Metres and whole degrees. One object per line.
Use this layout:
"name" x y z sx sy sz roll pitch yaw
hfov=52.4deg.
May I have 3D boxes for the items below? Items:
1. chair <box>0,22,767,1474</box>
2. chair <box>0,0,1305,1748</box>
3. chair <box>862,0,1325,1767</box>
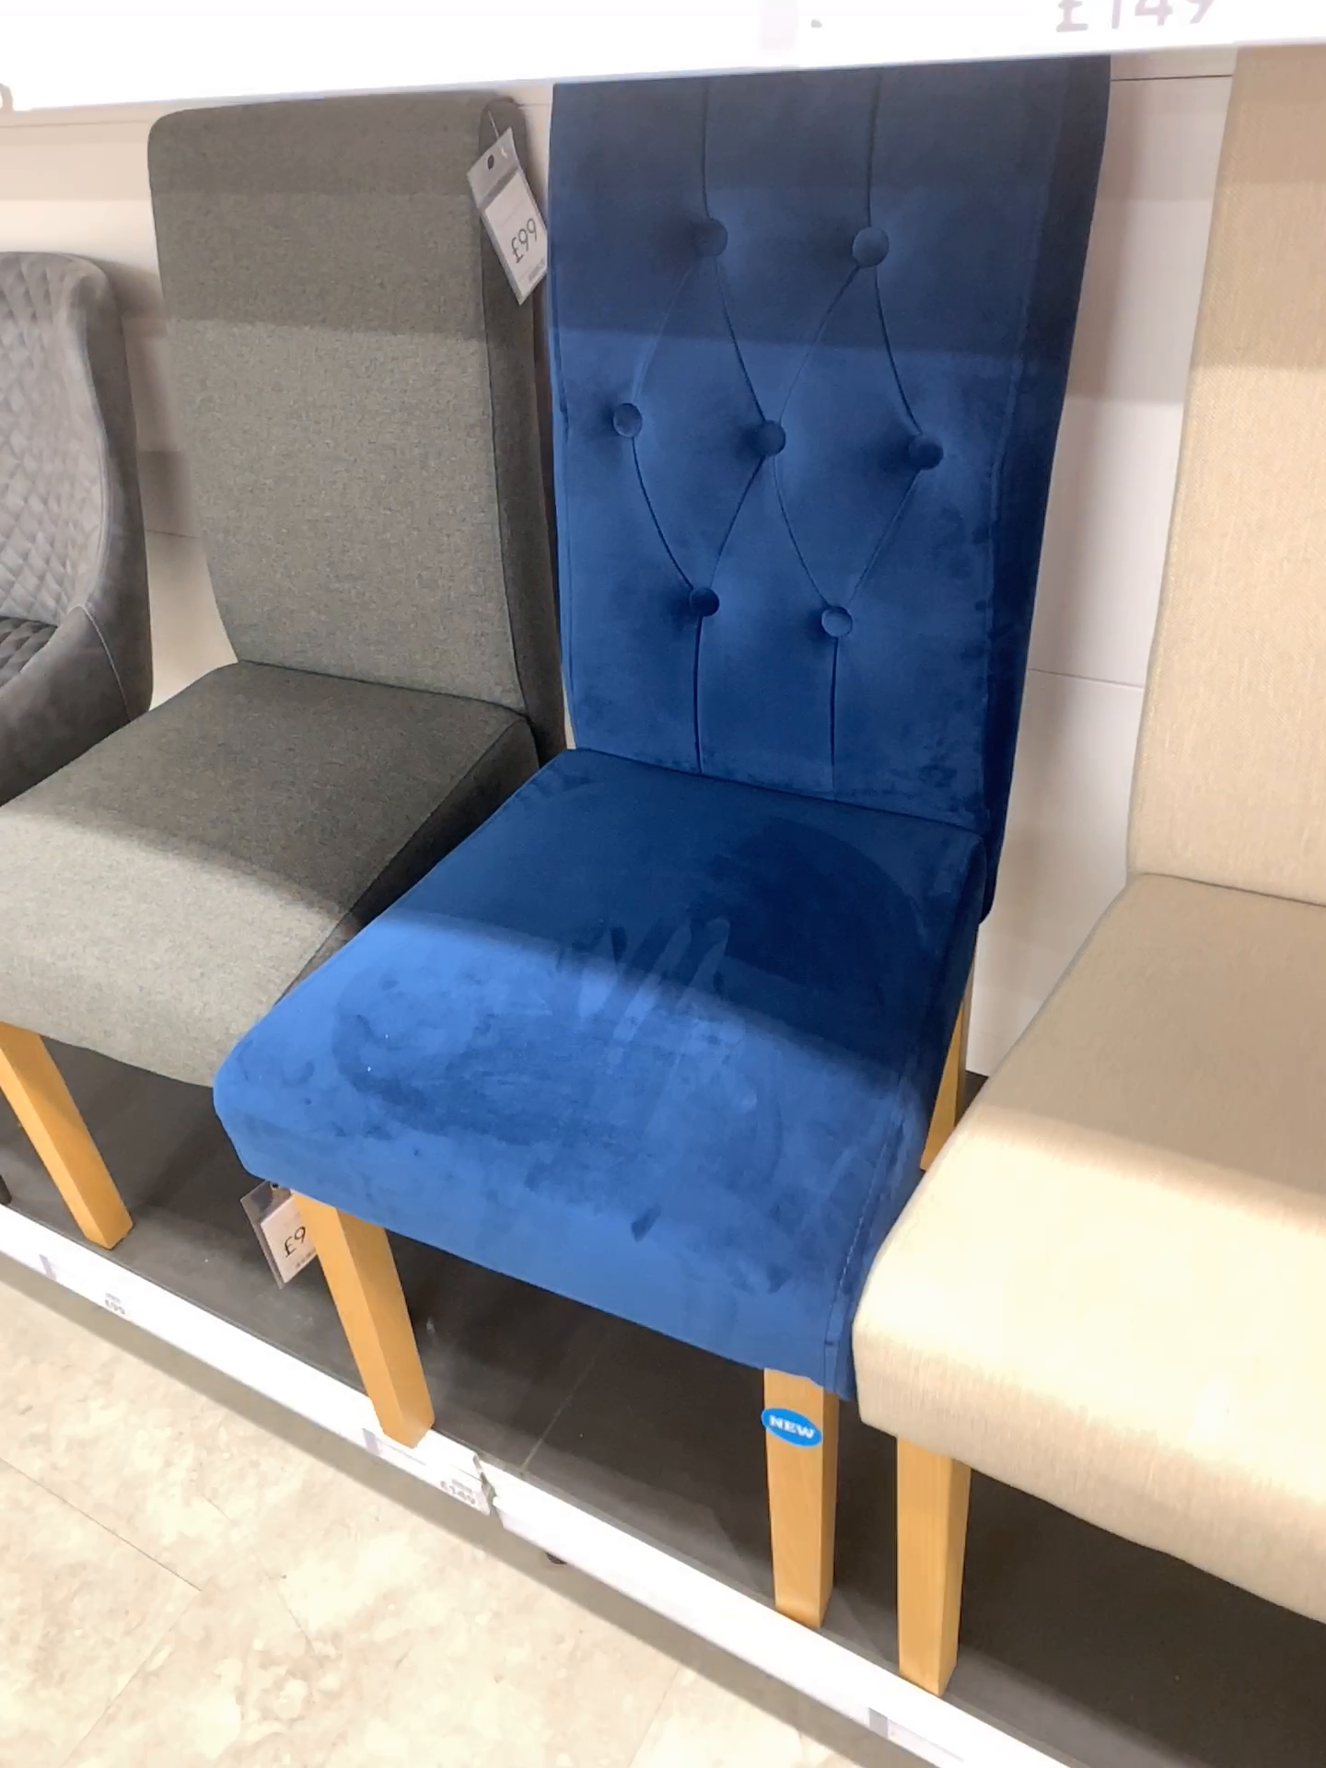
"chair" -0.286 -0.150 1.230 0.491 1.025 0.671 14 37 27
"chair" 0.071 -0.054 1.018 0.491 1.035 0.671 14 37 27
"chair" 0.482 0.051 0.790 0.491 1.035 0.671 14 37 27
